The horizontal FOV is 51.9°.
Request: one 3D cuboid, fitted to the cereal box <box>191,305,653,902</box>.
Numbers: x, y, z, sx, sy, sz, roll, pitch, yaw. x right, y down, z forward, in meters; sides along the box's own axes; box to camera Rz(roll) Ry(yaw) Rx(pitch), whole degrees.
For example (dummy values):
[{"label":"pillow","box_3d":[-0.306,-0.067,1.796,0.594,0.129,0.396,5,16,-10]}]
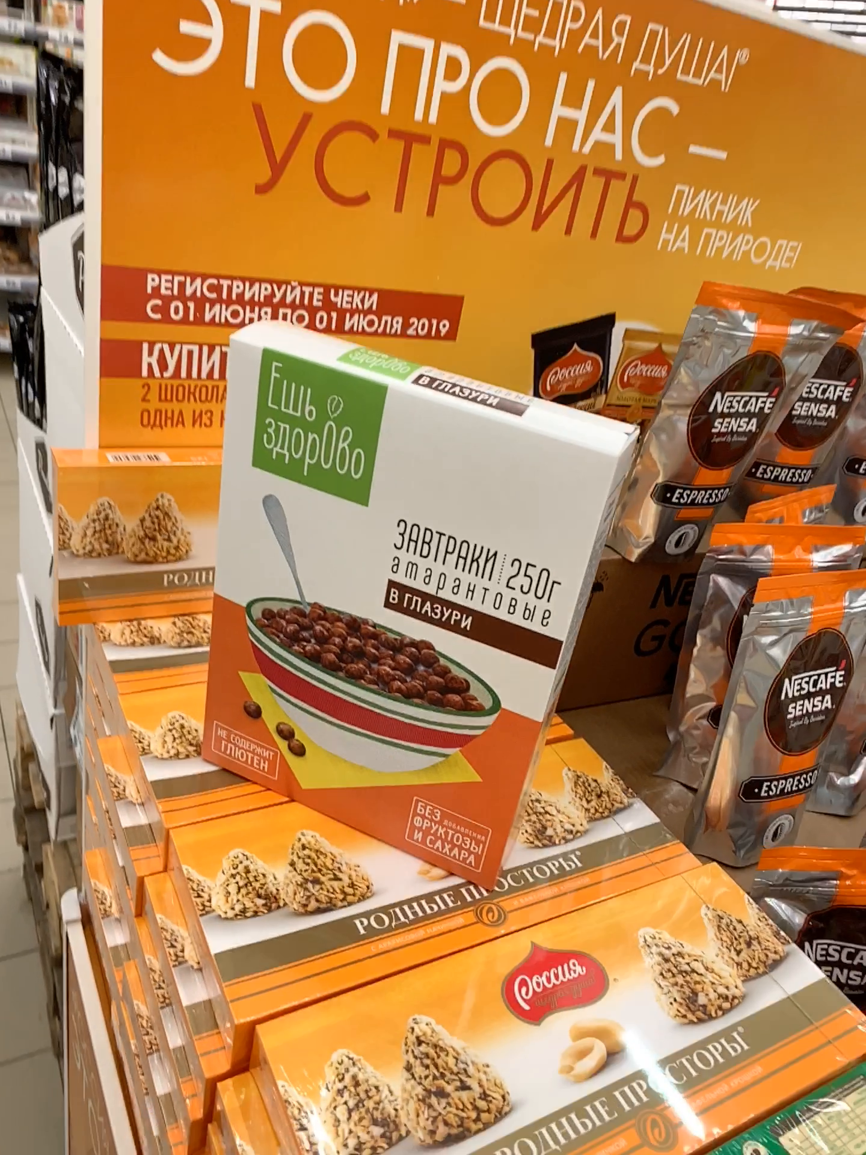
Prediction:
[{"label":"cereal box","box_3d":[-0.021,0.016,0.462,0.190,0.258,0.060,20,28,16]}]
